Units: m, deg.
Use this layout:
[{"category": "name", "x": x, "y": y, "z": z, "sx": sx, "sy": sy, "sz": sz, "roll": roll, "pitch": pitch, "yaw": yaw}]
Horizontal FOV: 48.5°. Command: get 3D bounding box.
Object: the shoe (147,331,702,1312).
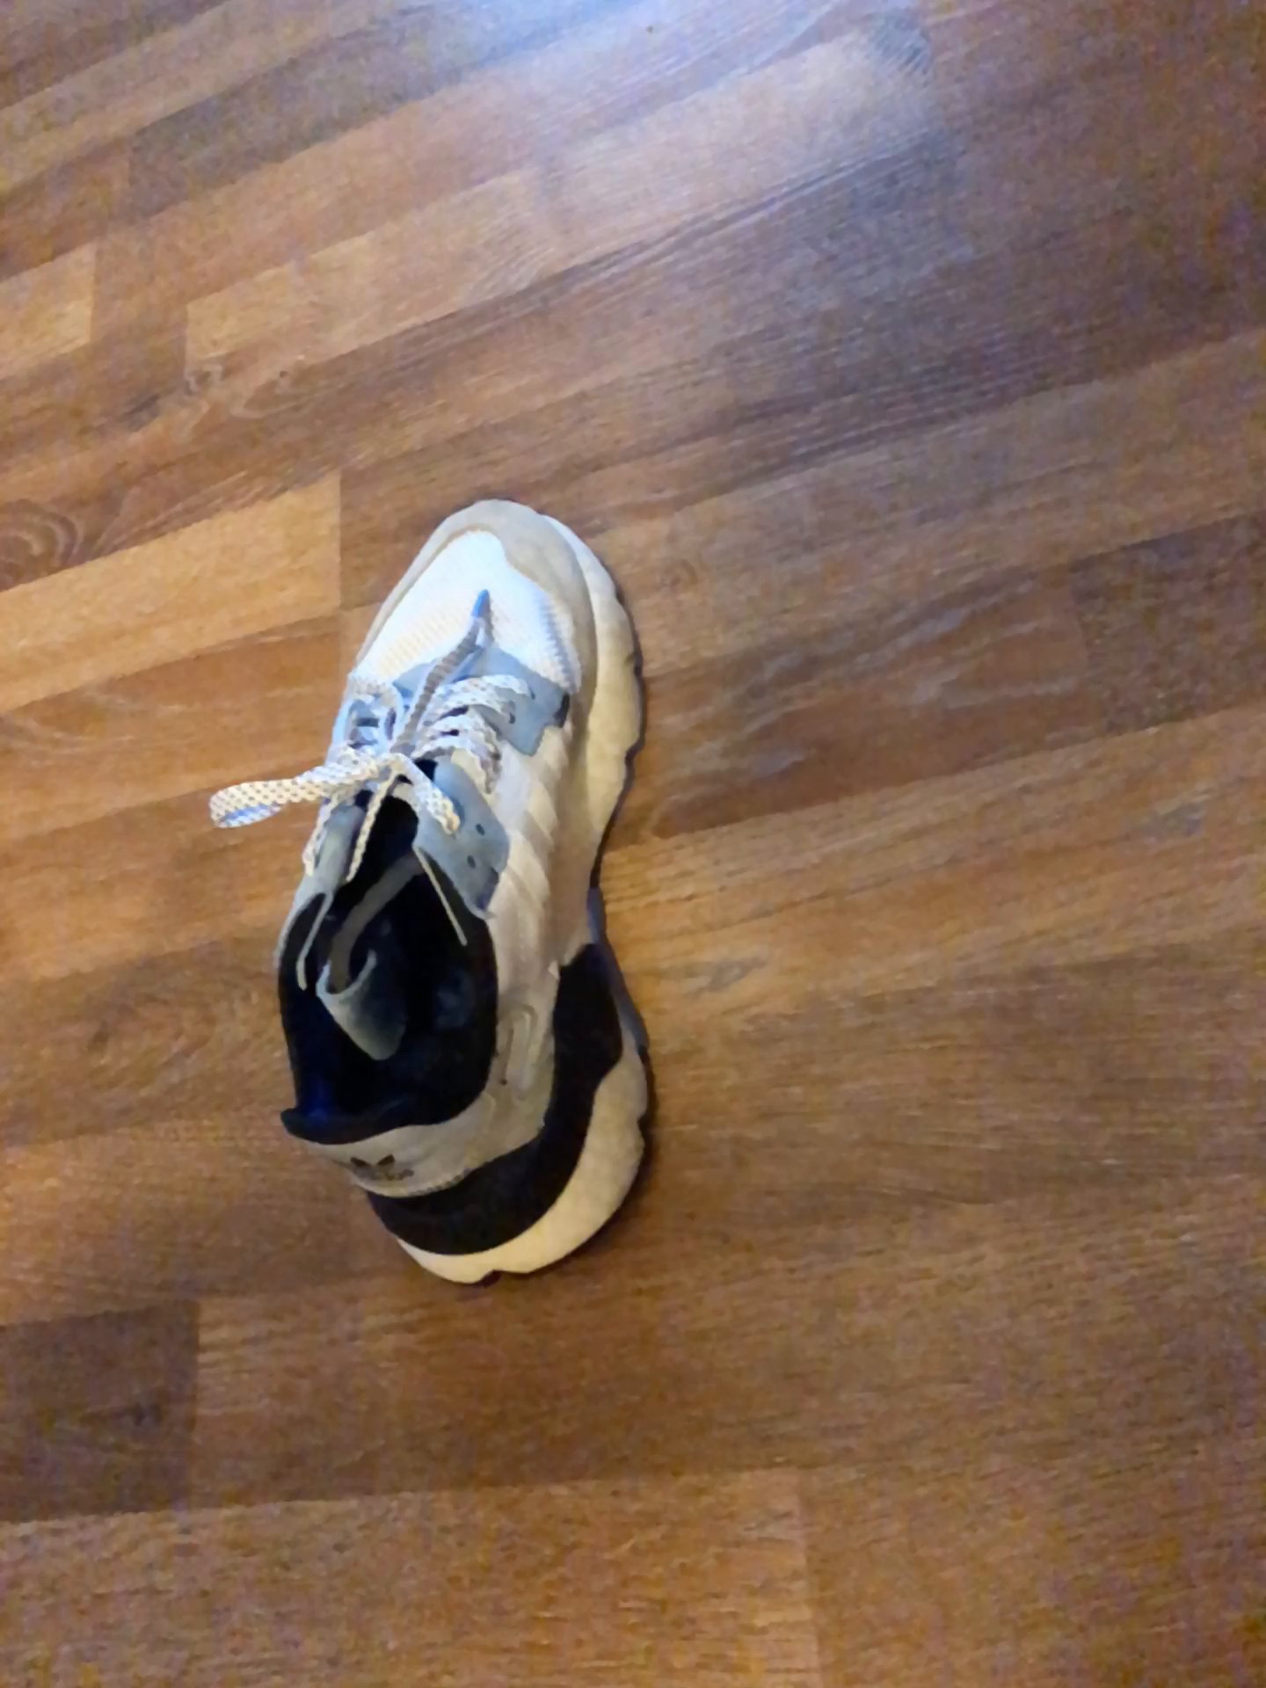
[{"category": "shoe", "x": -0.064, "y": -0.003, "z": 0.443, "sx": 0.113, "sy": 0.109, "sz": 0.271, "roll": -13, "pitch": 66, "yaw": 18}]
